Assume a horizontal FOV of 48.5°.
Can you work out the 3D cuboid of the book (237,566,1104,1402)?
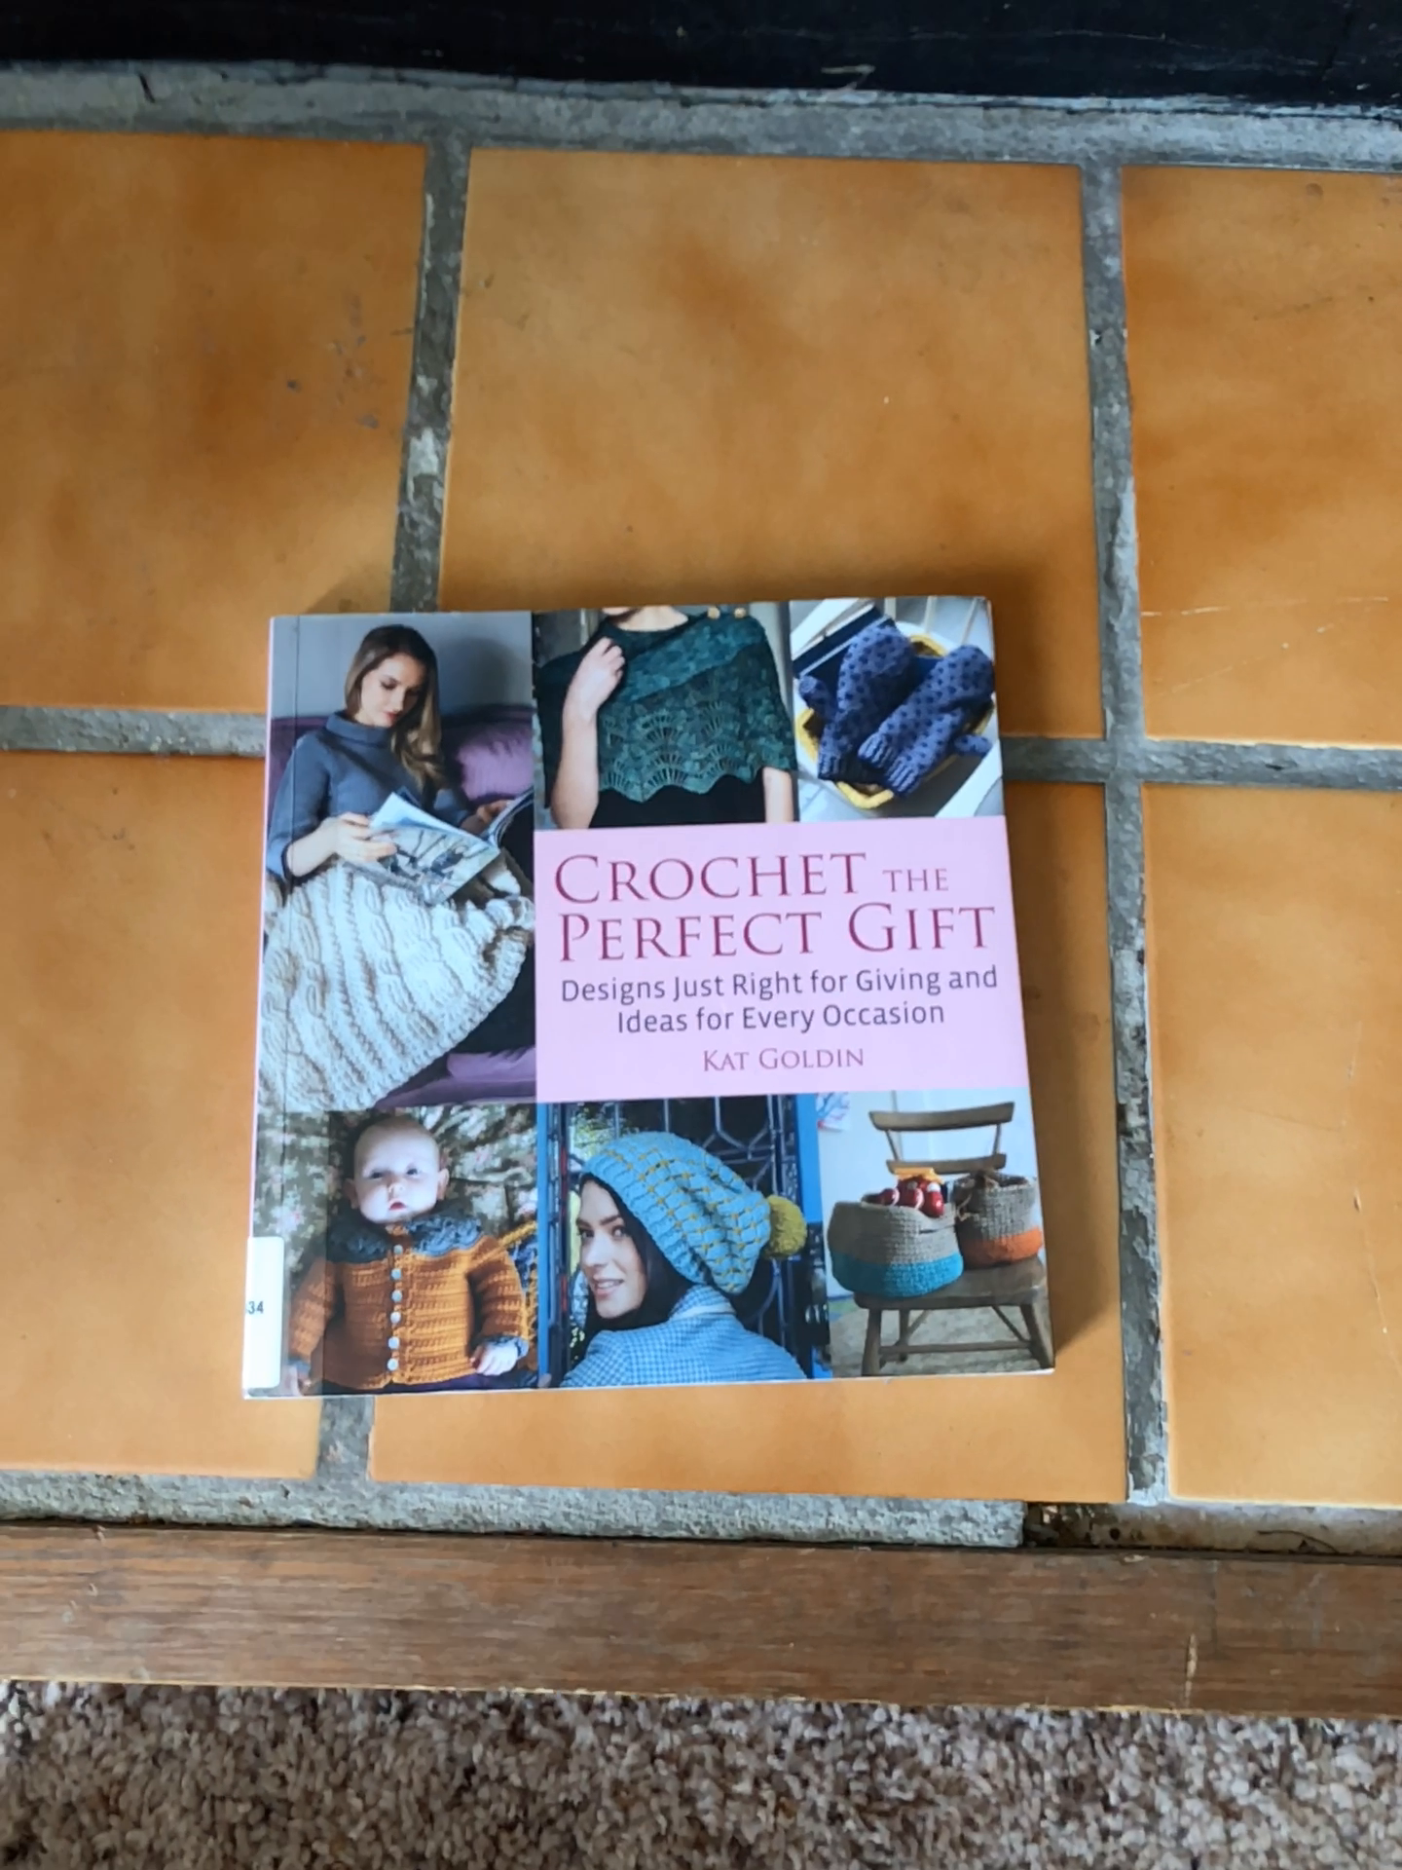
[{"bbox_3d":[-0.011,0.008,0.426,0.217,0.020,0.221,-2,76,-2],"label":"book"}]
